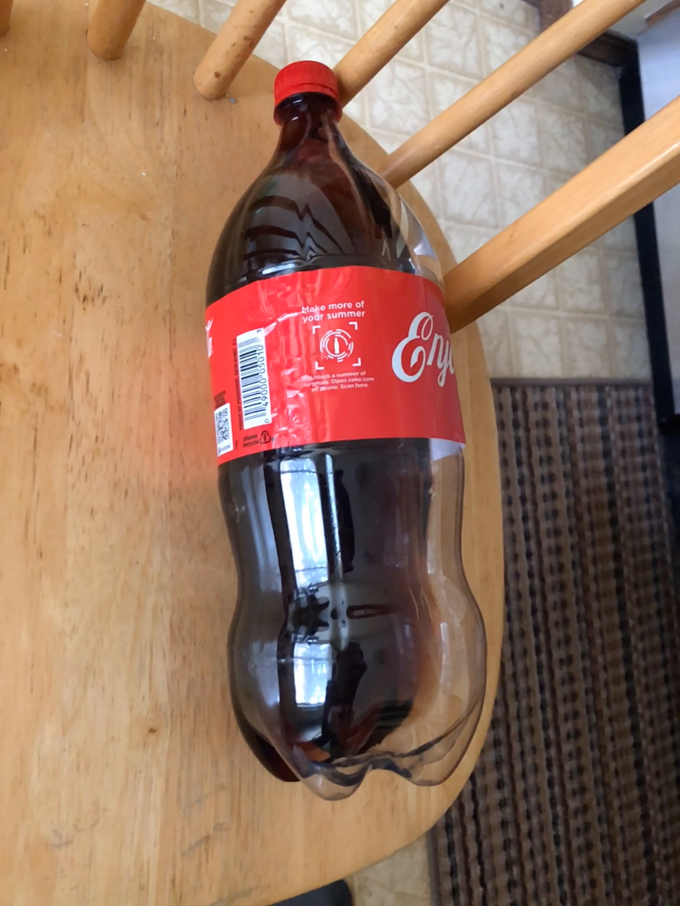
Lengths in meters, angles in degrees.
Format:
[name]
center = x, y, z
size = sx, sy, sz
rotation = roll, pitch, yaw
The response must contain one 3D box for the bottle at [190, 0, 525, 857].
[bottle]
center = 0.005, -0.021, 0.325
size = 0.100, 0.120, 0.320
rotation = -3, 84, 2
